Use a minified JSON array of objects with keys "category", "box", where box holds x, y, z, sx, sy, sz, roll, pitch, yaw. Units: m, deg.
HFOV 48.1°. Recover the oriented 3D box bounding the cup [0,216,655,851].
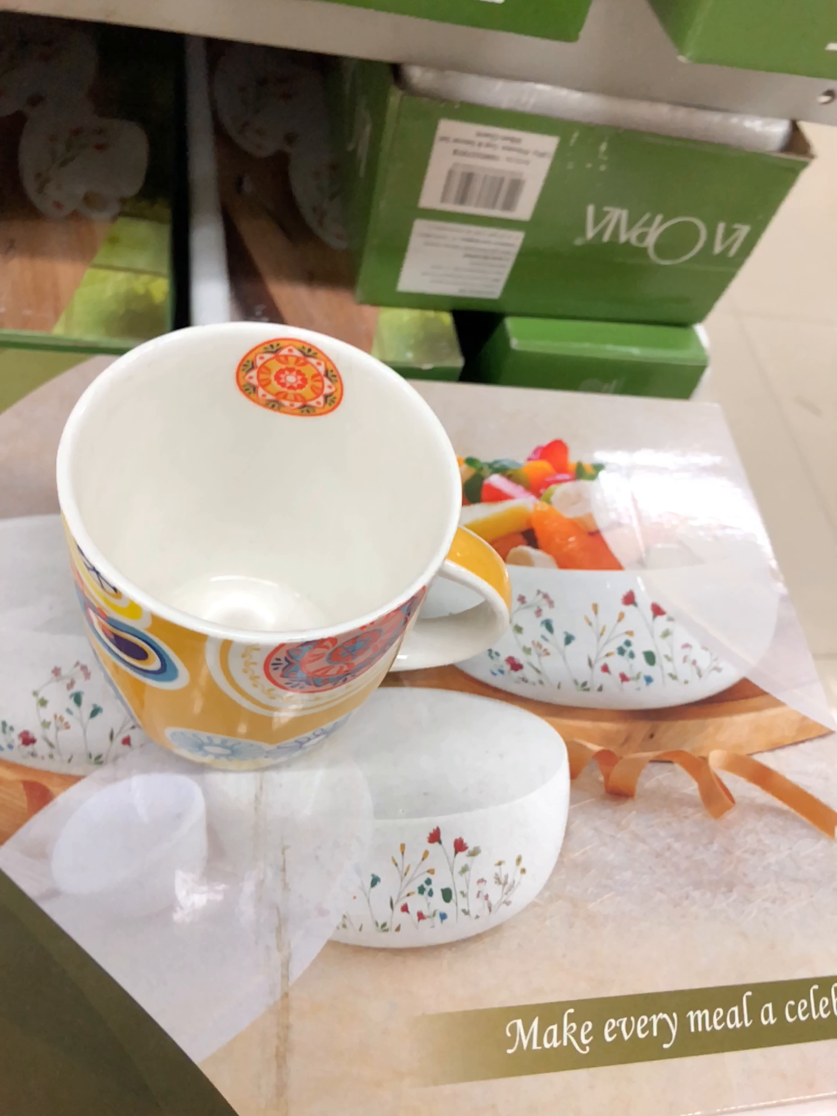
[{"category":"cup","box":[-0.025,0.001,0.215,0.120,0.090,0.090,10,54,-9]}]
